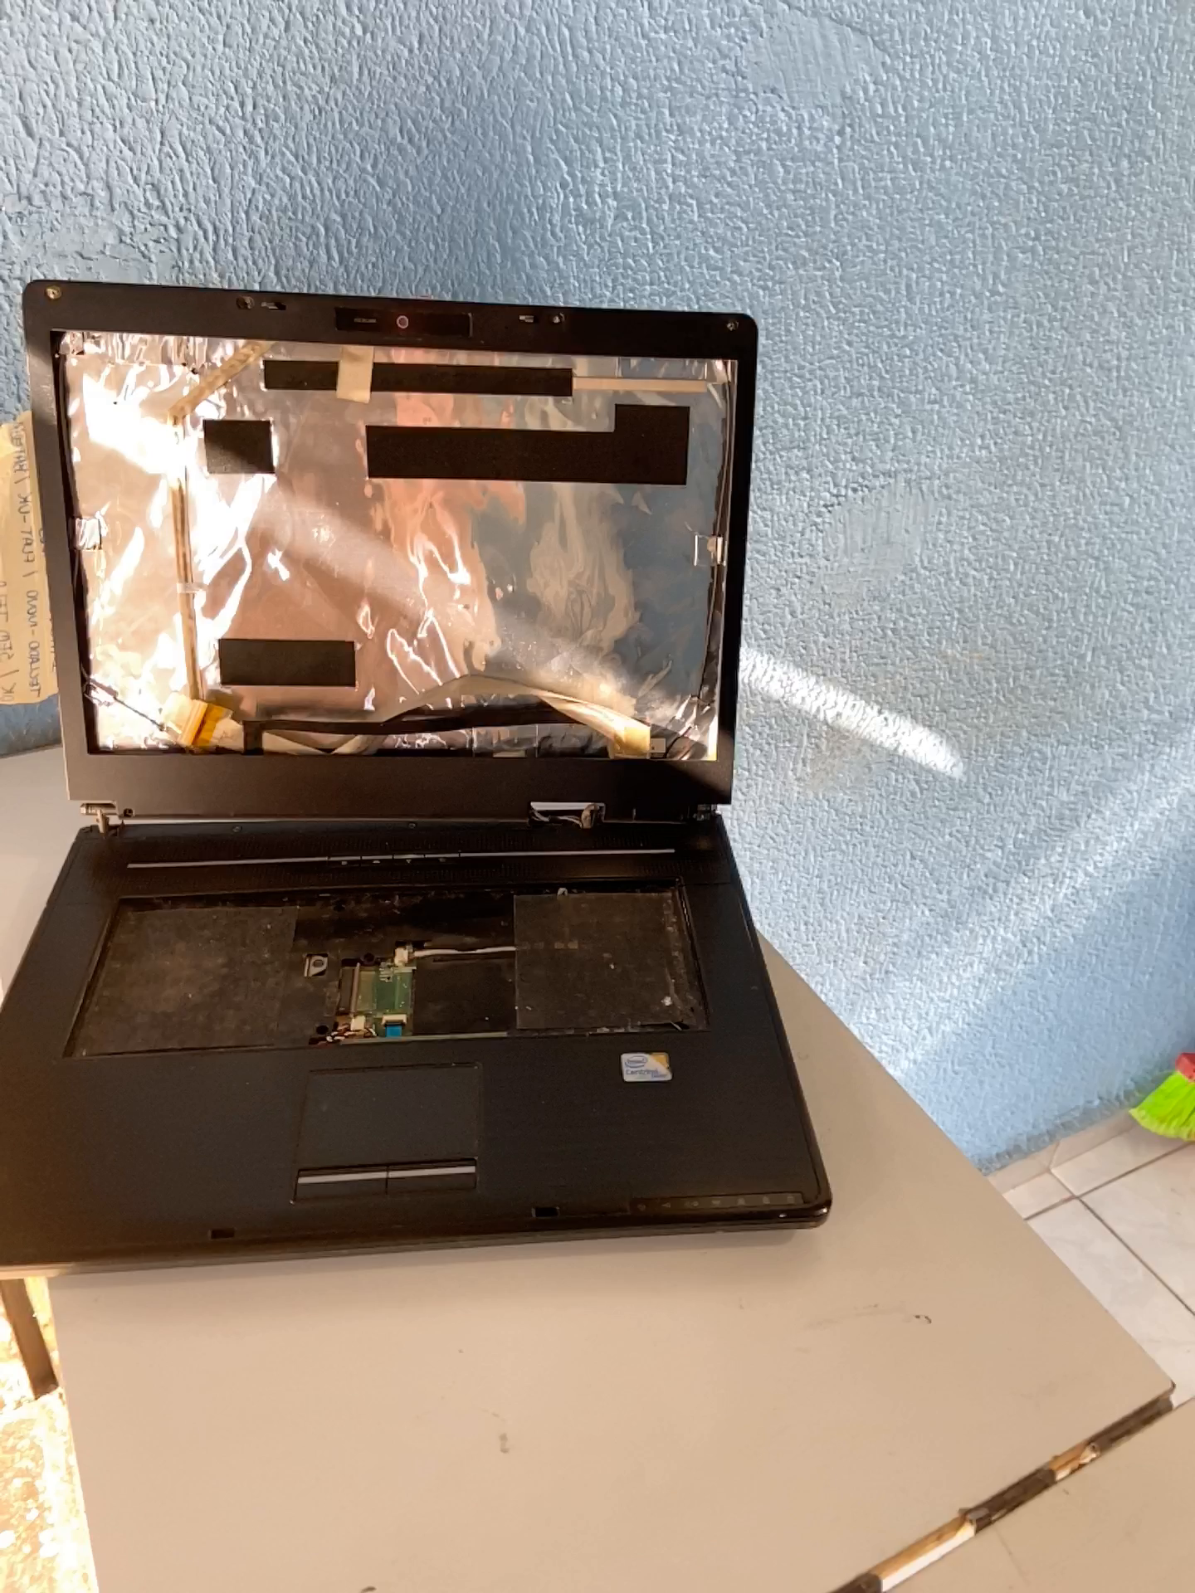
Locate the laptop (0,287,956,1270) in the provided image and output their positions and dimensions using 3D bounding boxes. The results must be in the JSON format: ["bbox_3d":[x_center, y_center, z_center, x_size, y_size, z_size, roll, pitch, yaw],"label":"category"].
[{"bbox_3d":[-0.090,-0.041,0.540,0.352,0.261,0.352,-1,34,-4],"label":"laptop"}]
